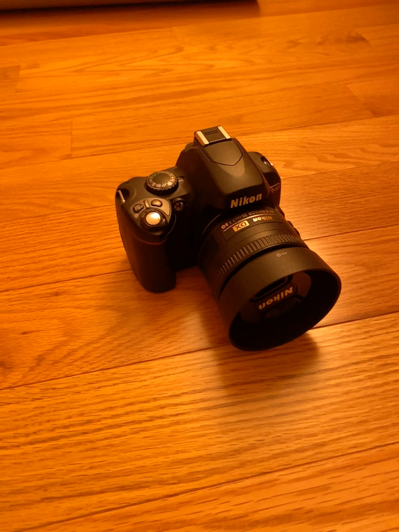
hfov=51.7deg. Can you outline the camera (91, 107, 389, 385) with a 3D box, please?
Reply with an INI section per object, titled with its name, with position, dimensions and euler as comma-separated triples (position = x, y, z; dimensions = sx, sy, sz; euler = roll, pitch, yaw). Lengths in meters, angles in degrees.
[camera]
position = 0.014, -0.023, 0.274
dimensions = 0.130, 0.080, 0.141
euler = -17, 50, -12
